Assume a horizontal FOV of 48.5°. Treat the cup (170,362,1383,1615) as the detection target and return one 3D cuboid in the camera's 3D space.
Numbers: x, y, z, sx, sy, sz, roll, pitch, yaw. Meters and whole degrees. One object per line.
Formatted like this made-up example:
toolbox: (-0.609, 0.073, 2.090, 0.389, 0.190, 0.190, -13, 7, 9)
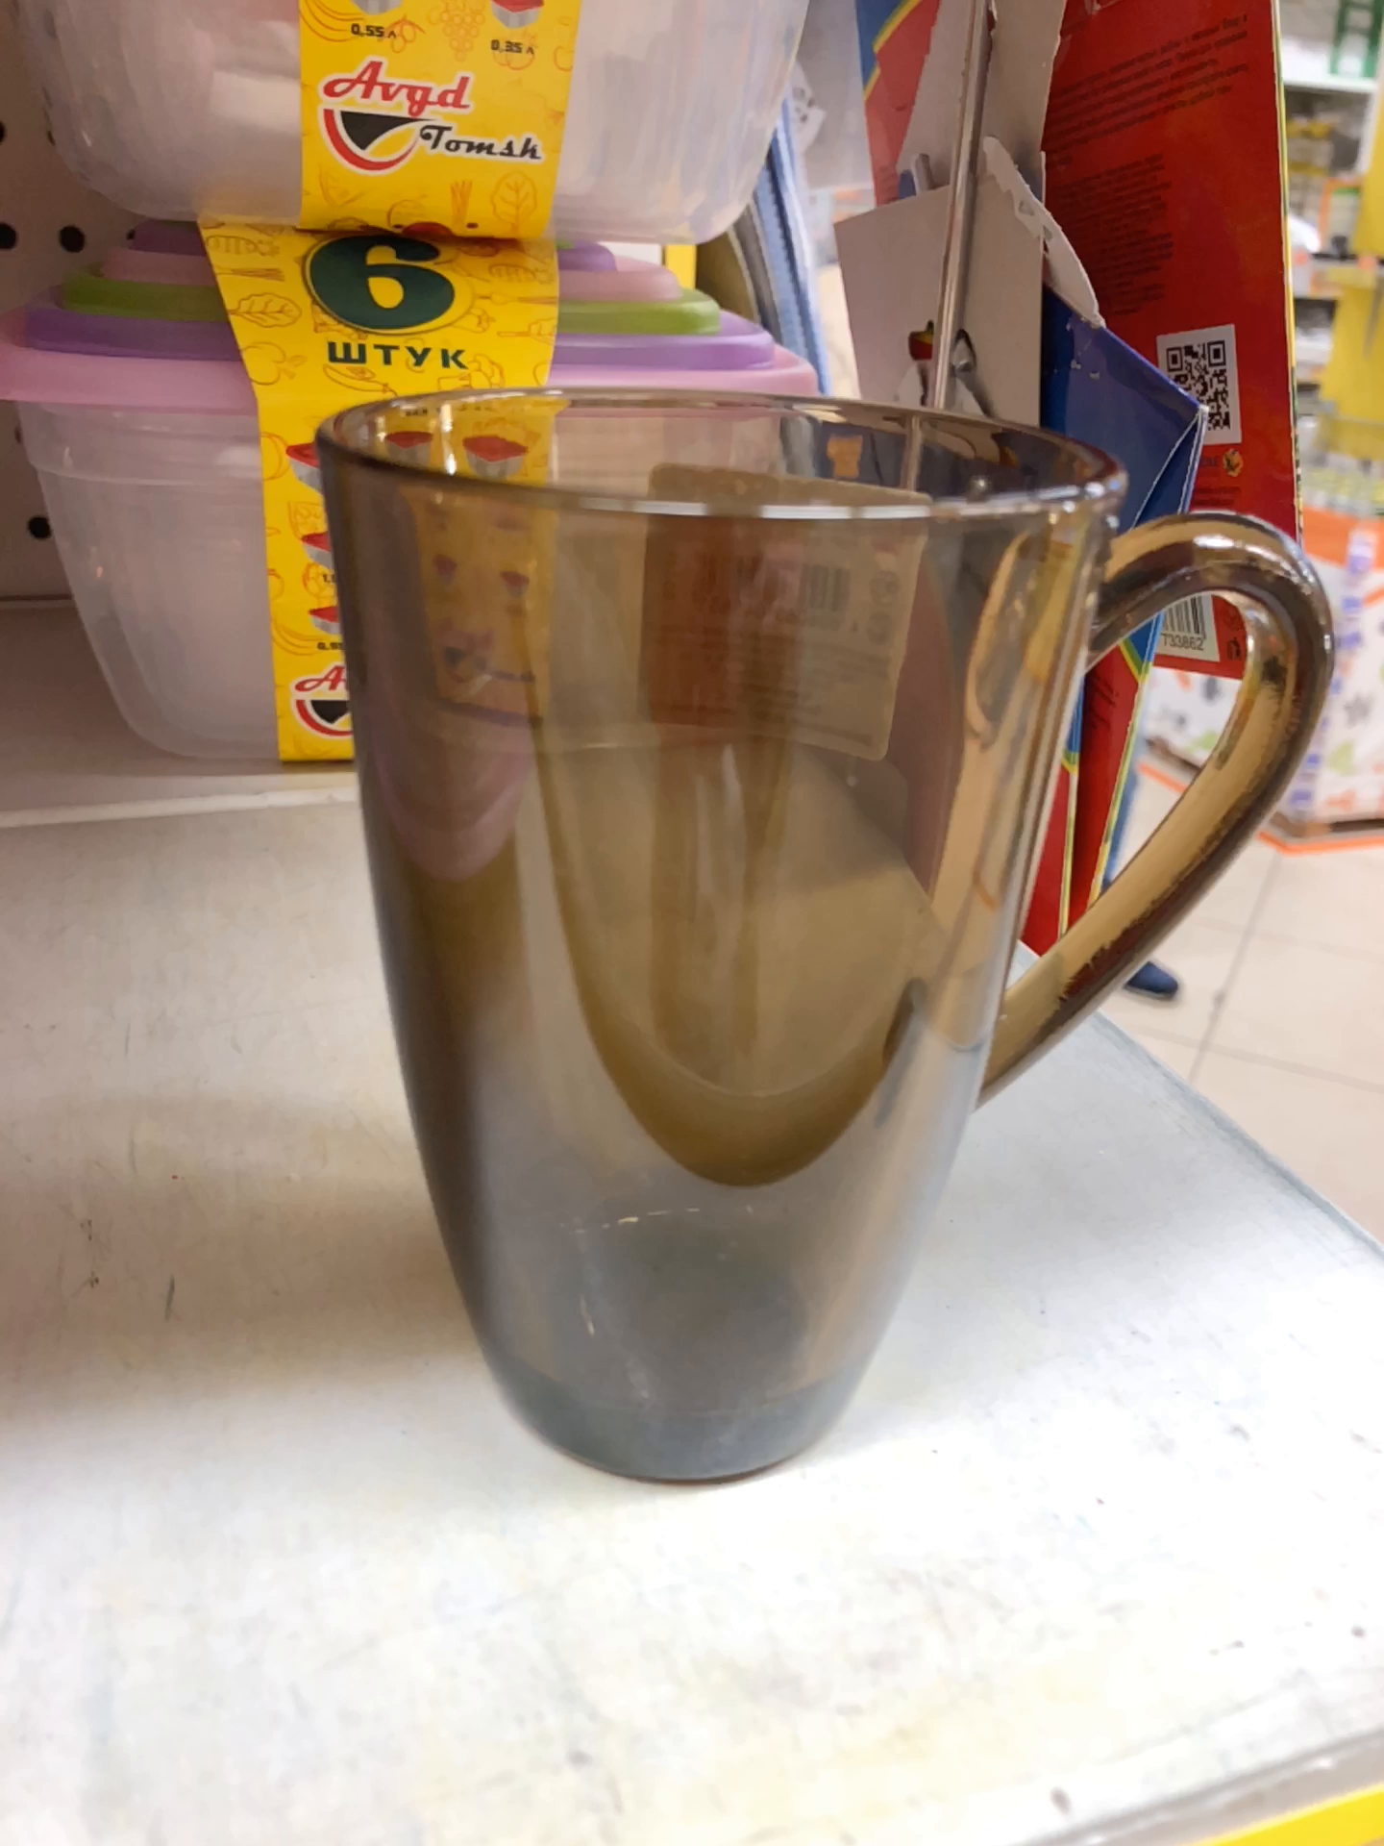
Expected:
cup: (0.012, -0.005, 0.171, 0.112, 0.096, 0.072, -12, 30, -26)
